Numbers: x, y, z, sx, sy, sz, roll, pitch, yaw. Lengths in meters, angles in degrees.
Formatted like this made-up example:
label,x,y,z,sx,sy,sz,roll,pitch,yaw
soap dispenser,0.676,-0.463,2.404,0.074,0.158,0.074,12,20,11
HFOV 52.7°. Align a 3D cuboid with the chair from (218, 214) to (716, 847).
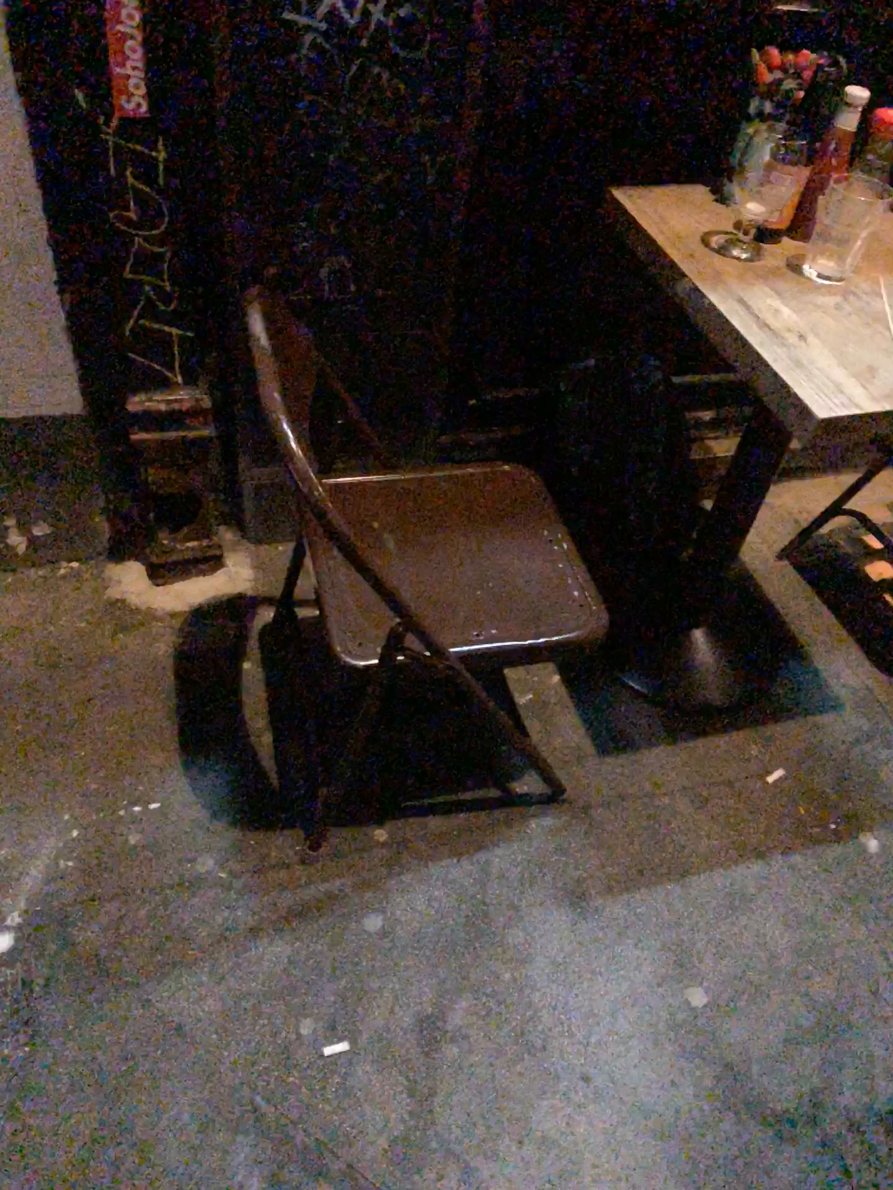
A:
label,x,y,z,sx,sy,sz,roll,pitch,yaw
chair,-0.047,-0.085,1.307,0.480,0.723,0.495,-5,44,-15
